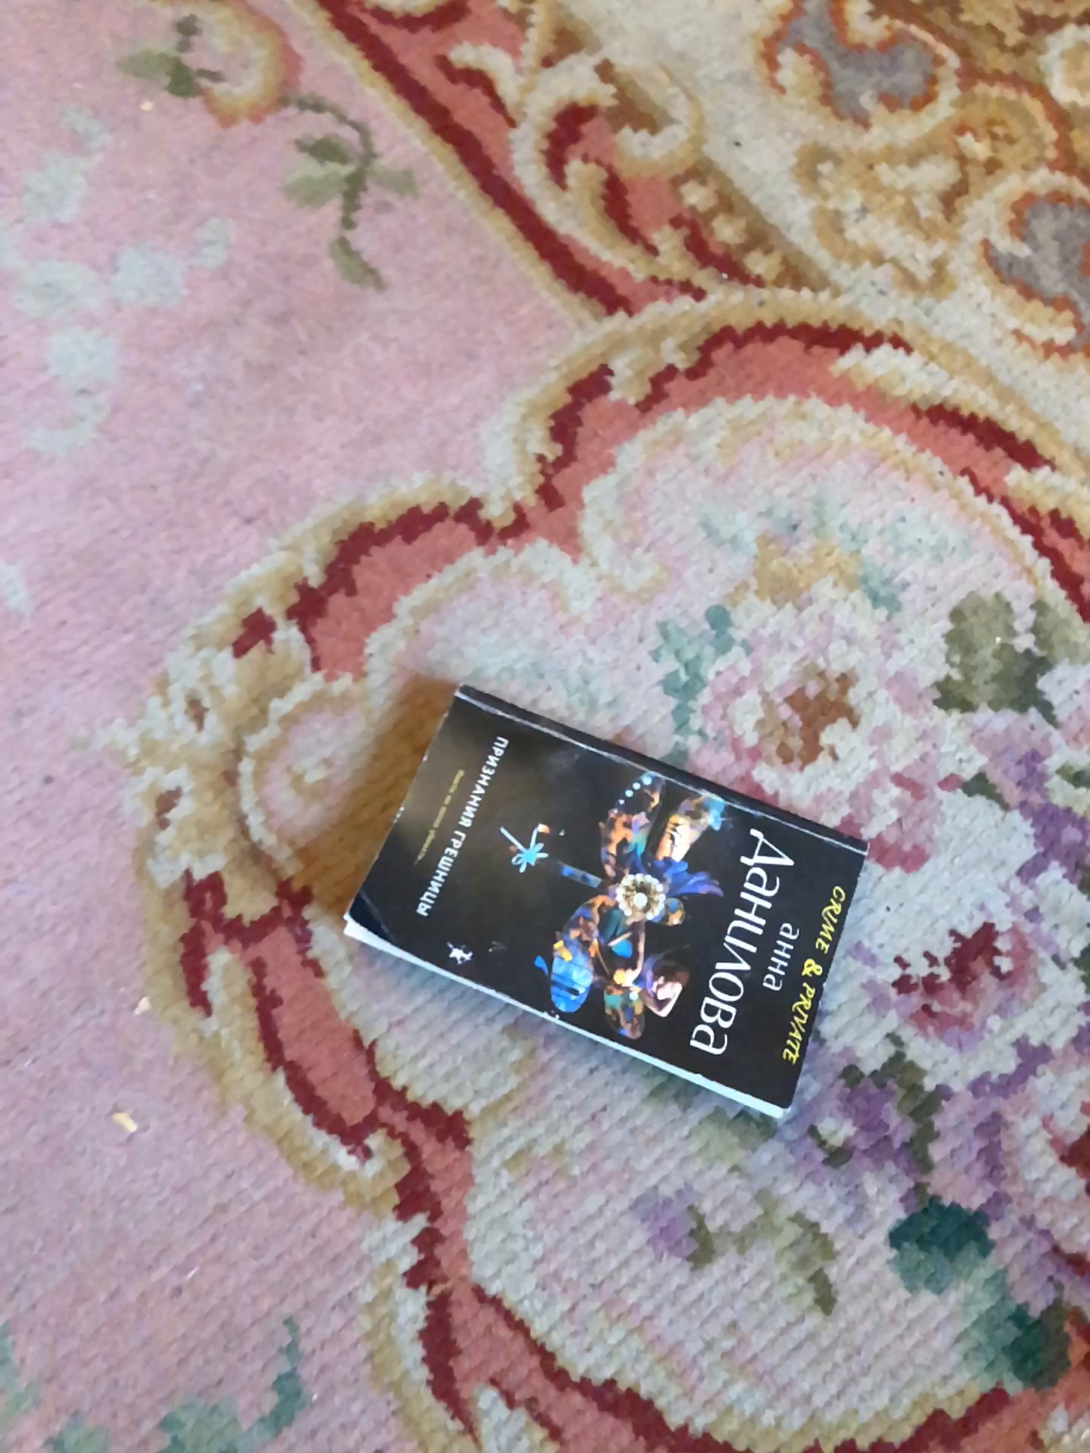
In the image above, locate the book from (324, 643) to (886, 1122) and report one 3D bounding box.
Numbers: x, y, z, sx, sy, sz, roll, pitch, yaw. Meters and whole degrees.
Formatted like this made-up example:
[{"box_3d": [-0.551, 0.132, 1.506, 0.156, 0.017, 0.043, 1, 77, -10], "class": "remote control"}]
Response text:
[{"box_3d": [0.022, 0.057, 0.438, 0.165, 0.050, 0.110, 22, 73, 5], "class": "book"}]
